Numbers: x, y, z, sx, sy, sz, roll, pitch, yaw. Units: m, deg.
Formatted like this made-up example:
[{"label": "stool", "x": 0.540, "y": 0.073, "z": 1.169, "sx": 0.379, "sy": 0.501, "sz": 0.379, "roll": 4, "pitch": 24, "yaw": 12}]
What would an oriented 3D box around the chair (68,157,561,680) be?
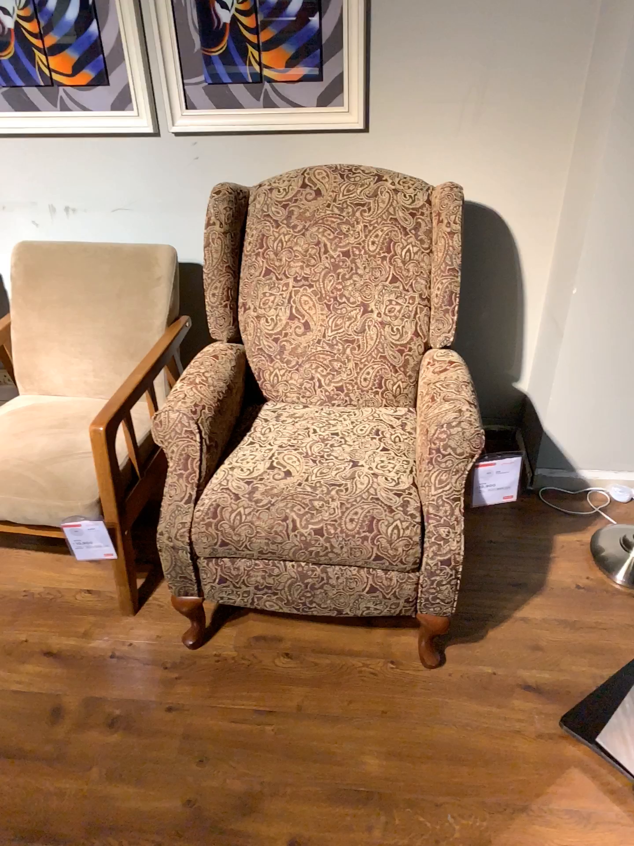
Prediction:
[{"label": "chair", "x": 0.035, "y": -0.047, "z": 1.553, "sx": 0.750, "sy": 0.956, "sz": 0.763, "roll": 3, "pitch": 34, "yaw": 6}]
